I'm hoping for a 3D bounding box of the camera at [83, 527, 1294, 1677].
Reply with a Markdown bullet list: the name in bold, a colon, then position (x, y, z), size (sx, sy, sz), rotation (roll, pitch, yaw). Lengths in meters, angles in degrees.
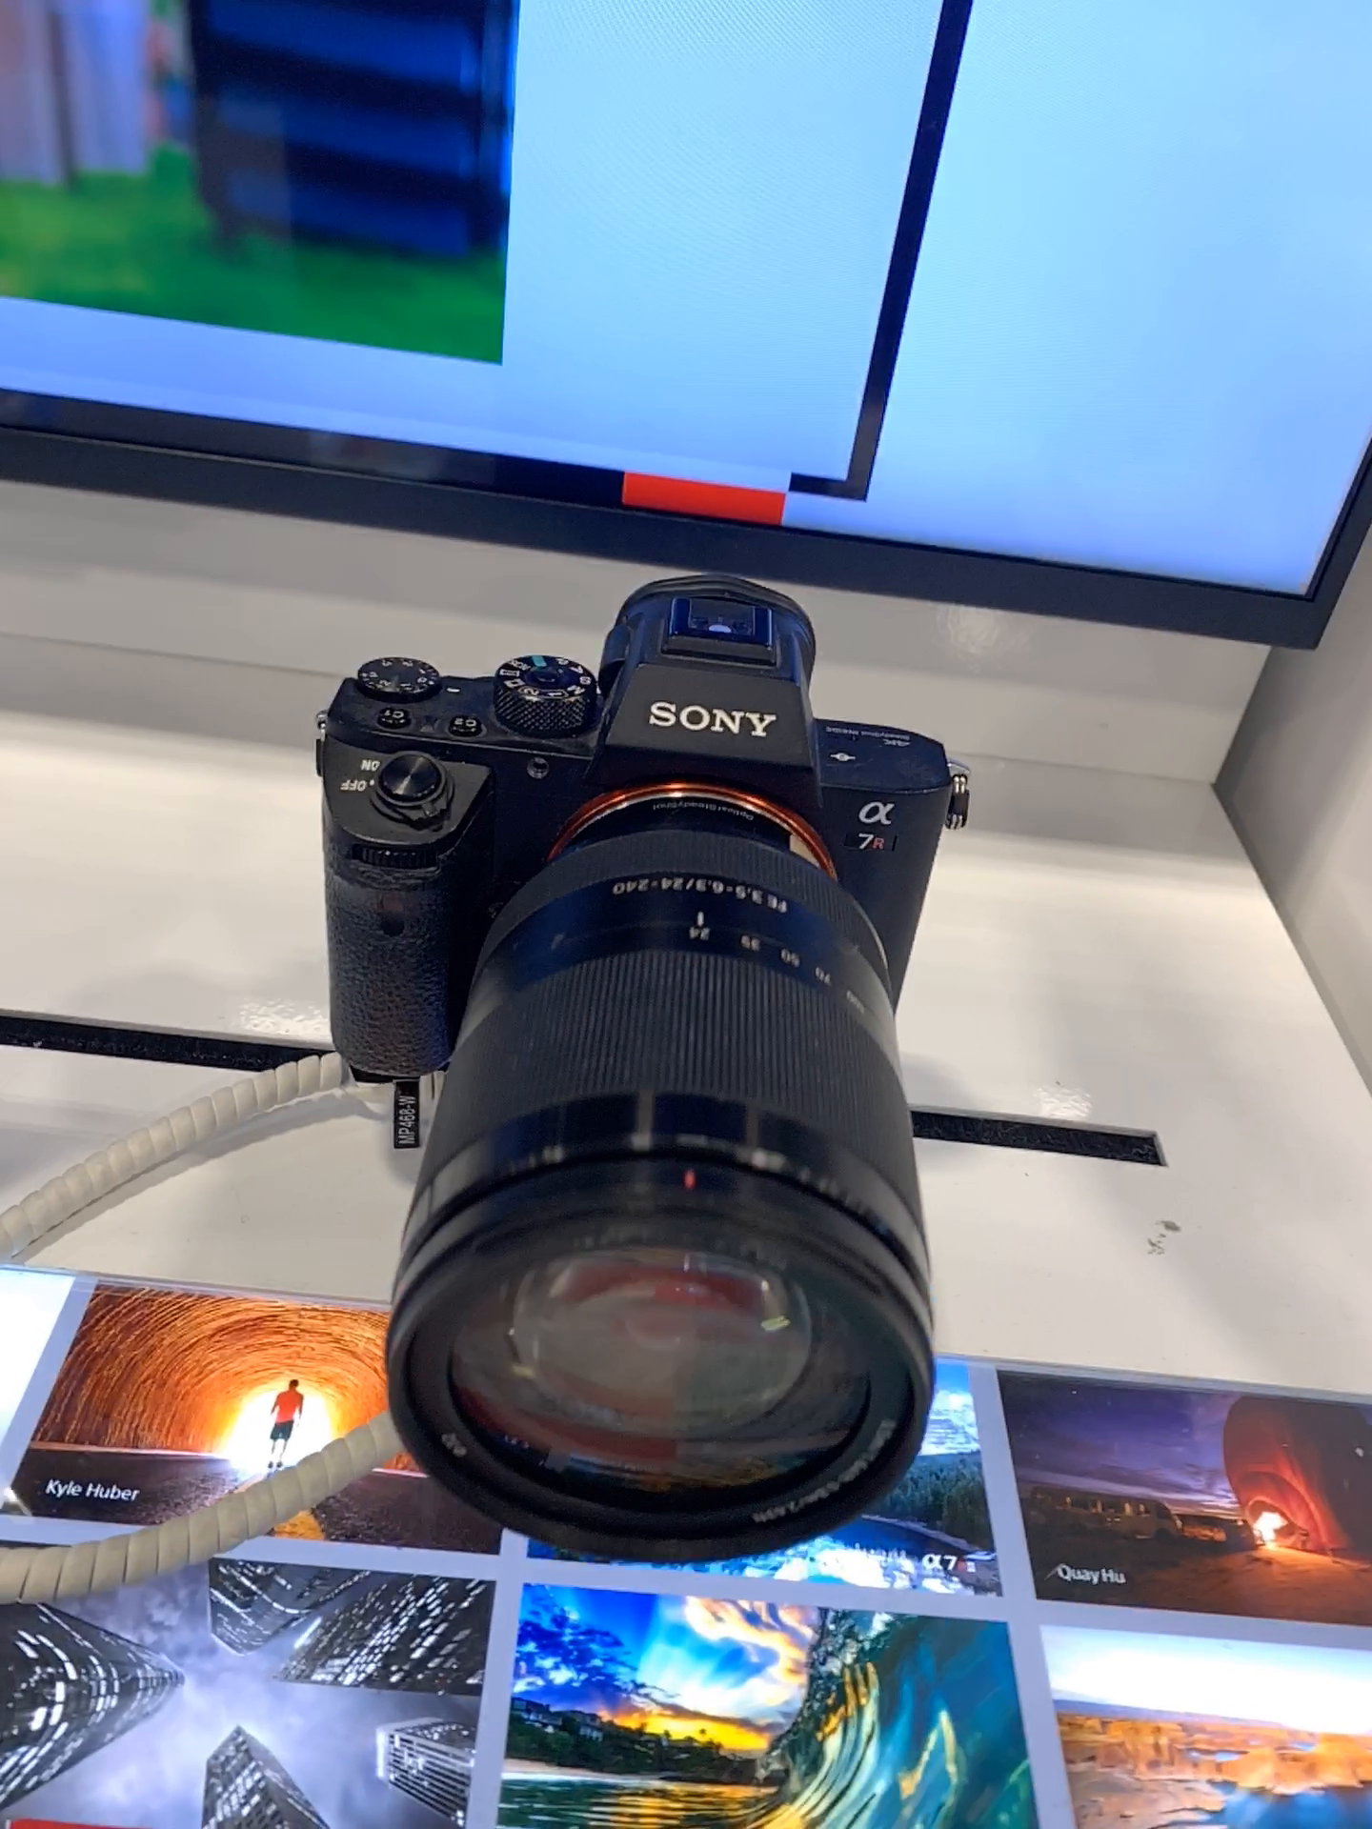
- **camera**: position (-0.006, 0.017, 0.249), size (0.128, 0.091, 0.185), rotation (3, 37, -6)
